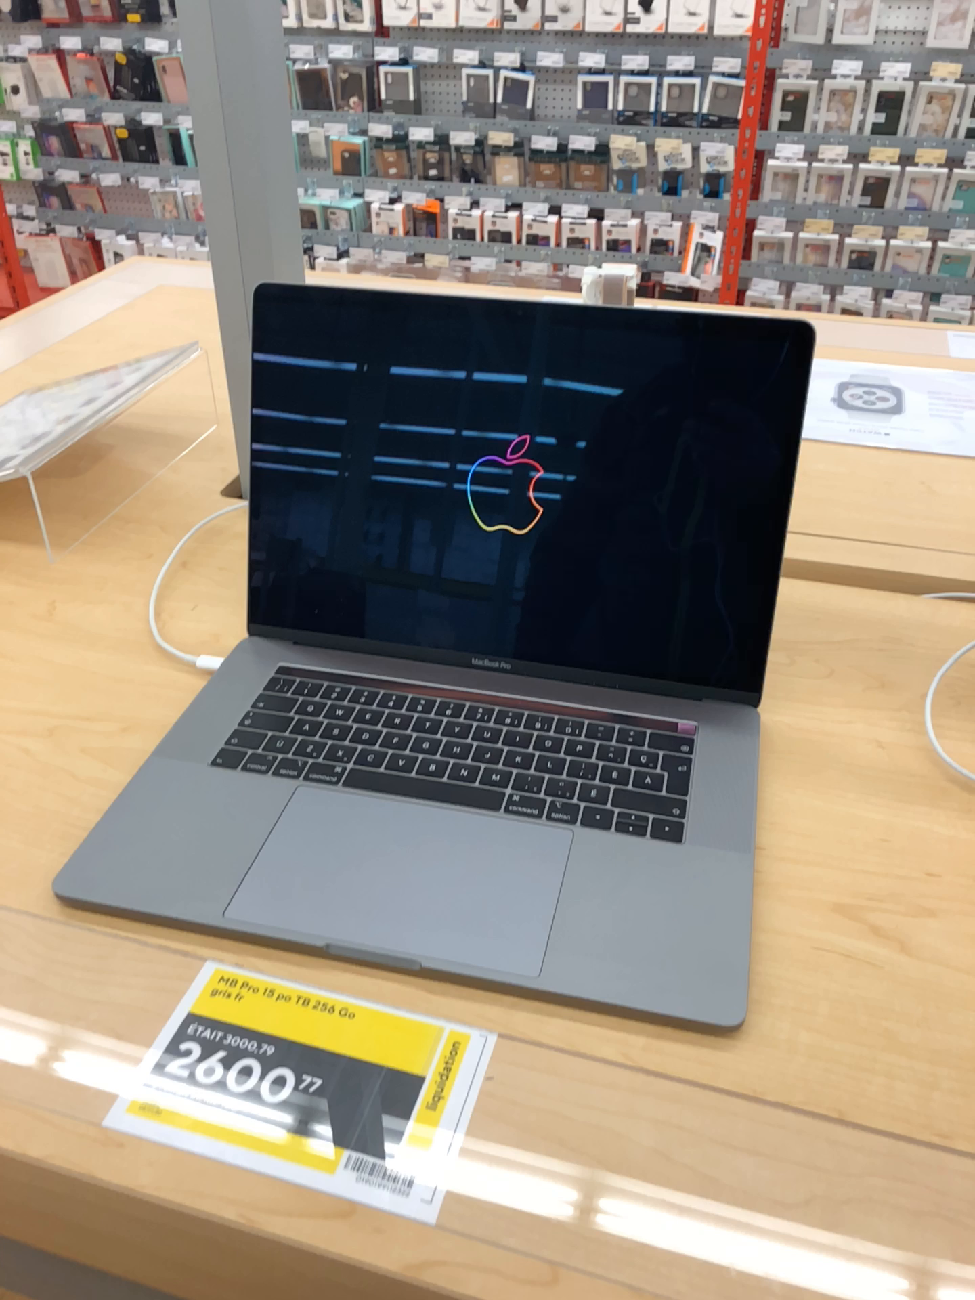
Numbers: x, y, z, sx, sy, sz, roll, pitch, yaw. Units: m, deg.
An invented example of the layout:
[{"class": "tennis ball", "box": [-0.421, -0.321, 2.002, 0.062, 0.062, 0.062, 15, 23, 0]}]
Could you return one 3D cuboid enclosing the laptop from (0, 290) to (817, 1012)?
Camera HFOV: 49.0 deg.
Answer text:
[{"class": "laptop", "box": [-0.016, -0.029, 0.561, 0.329, 0.212, 0.299, 7, 35, 10]}]
